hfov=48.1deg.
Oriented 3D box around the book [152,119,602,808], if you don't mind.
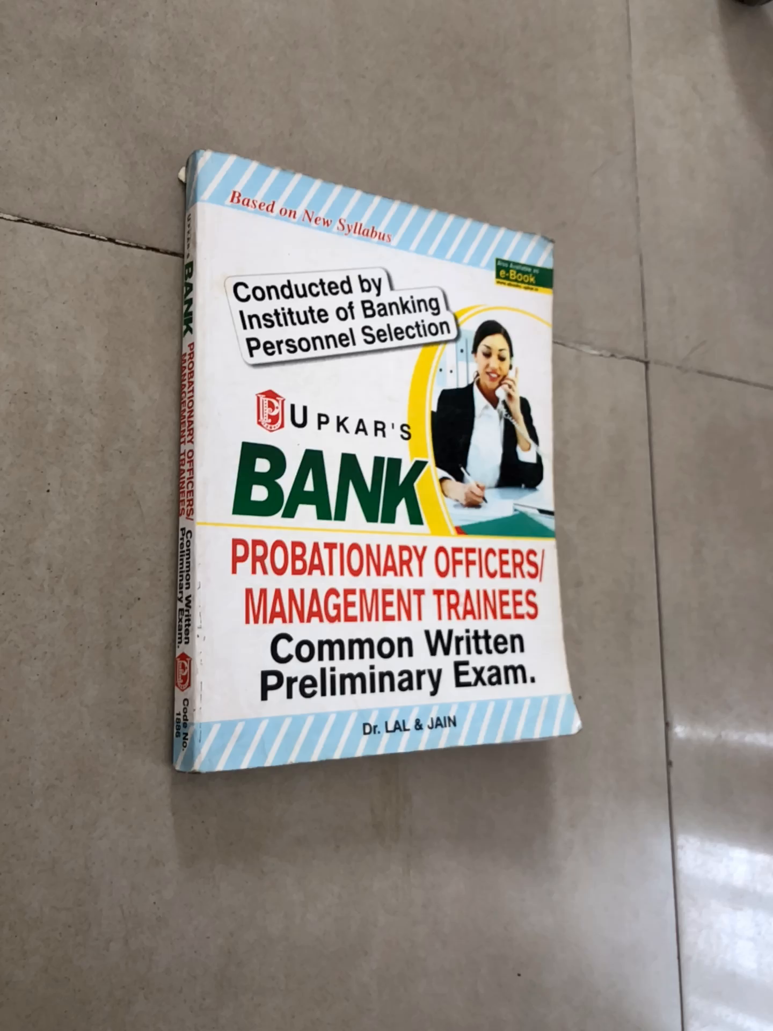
[{"bbox_3d":[0.005,-0.014,0.349,0.181,0.040,0.230,4,83,-31],"label":"book"}]
